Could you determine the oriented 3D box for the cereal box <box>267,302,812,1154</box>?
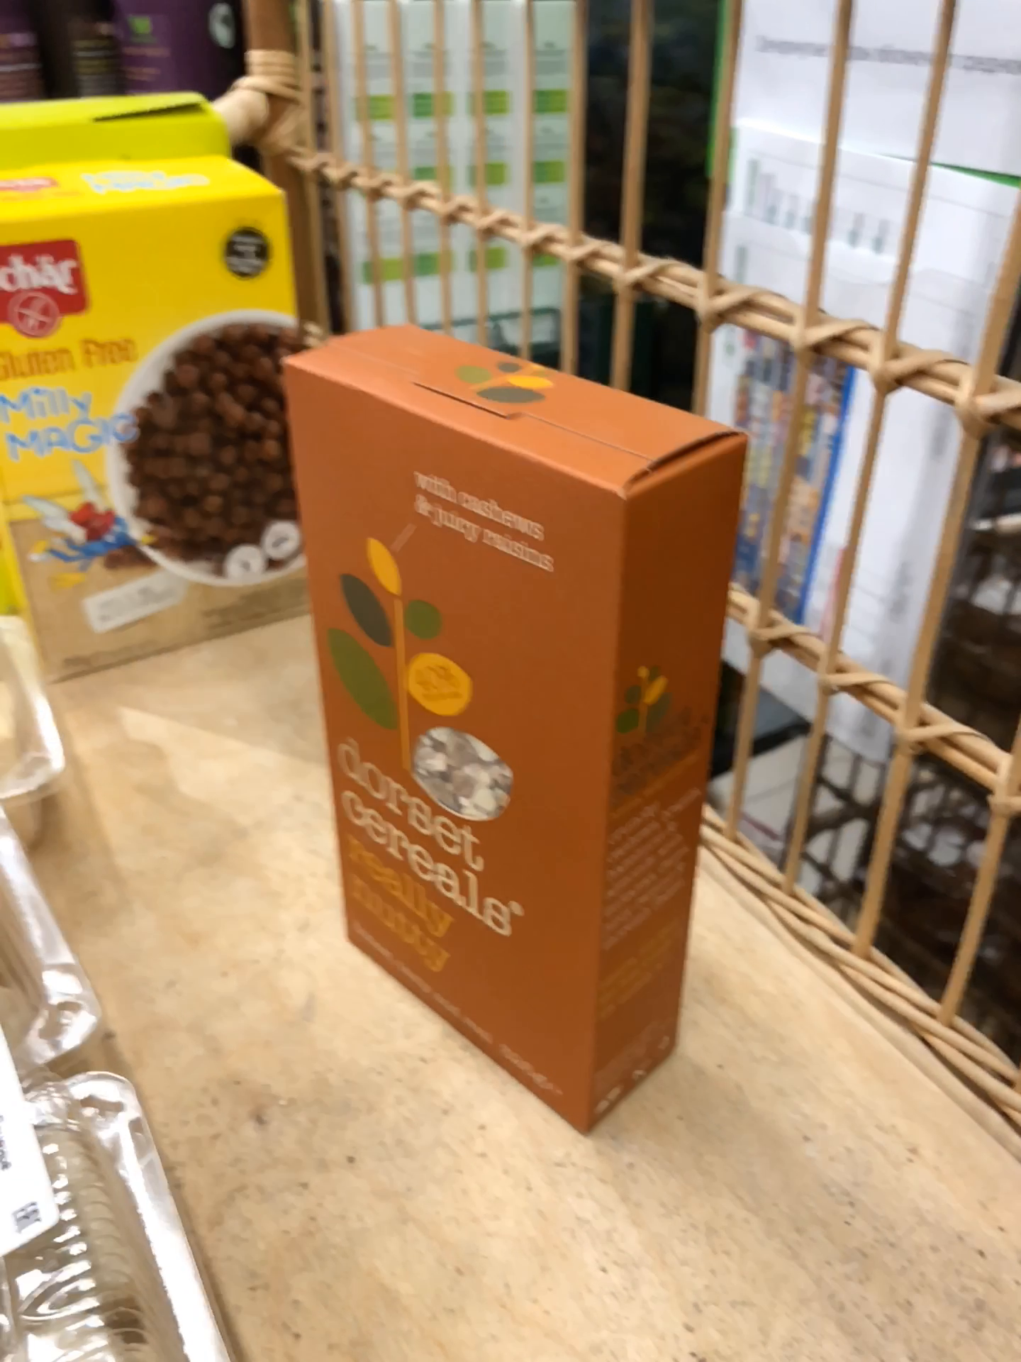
[{"bbox_3d":[0.001,0.015,0.327,0.130,0.209,0.050,28,42,35],"label":"cereal box"}]
